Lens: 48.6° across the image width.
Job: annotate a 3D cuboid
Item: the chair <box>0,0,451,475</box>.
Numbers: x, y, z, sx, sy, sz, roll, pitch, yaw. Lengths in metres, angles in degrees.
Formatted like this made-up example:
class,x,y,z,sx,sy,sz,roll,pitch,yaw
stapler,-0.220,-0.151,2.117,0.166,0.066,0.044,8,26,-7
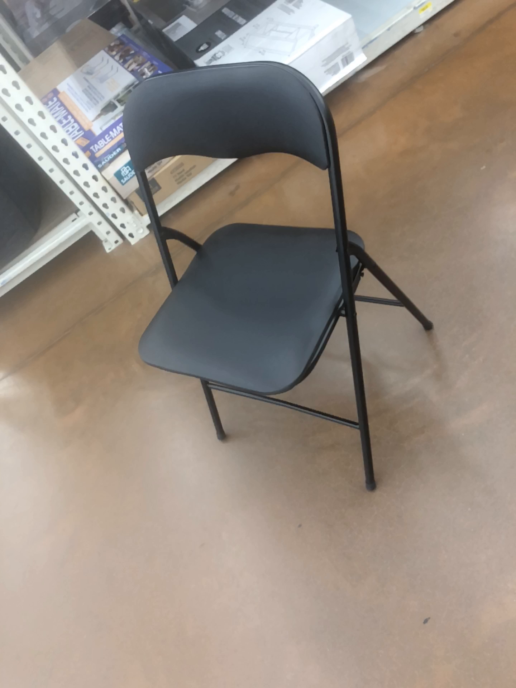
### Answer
class,x,y,z,sx,sy,sz,roll,pitch,yaw
chair,0.001,-0.166,1.139,0.522,0.757,0.490,8,62,33
